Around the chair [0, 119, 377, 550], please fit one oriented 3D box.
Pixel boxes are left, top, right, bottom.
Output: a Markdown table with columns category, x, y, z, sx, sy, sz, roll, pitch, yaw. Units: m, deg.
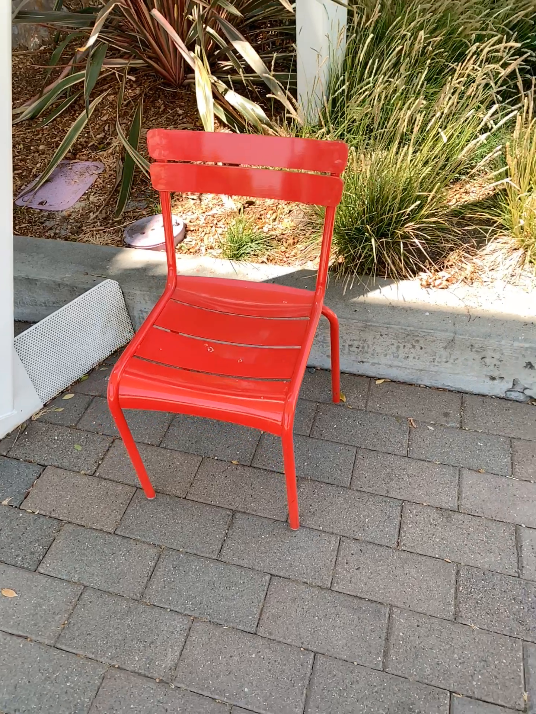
| category | x | y | z | sx | sy | sz | roll | pitch | yaw |
| --- | --- | --- | --- | --- | --- | --- | --- | --- | --- |
| chair | -0.089 | -0.065 | 1.367 | 0.581 | 0.786 | 0.633 | 8 | 44 | 13 |
